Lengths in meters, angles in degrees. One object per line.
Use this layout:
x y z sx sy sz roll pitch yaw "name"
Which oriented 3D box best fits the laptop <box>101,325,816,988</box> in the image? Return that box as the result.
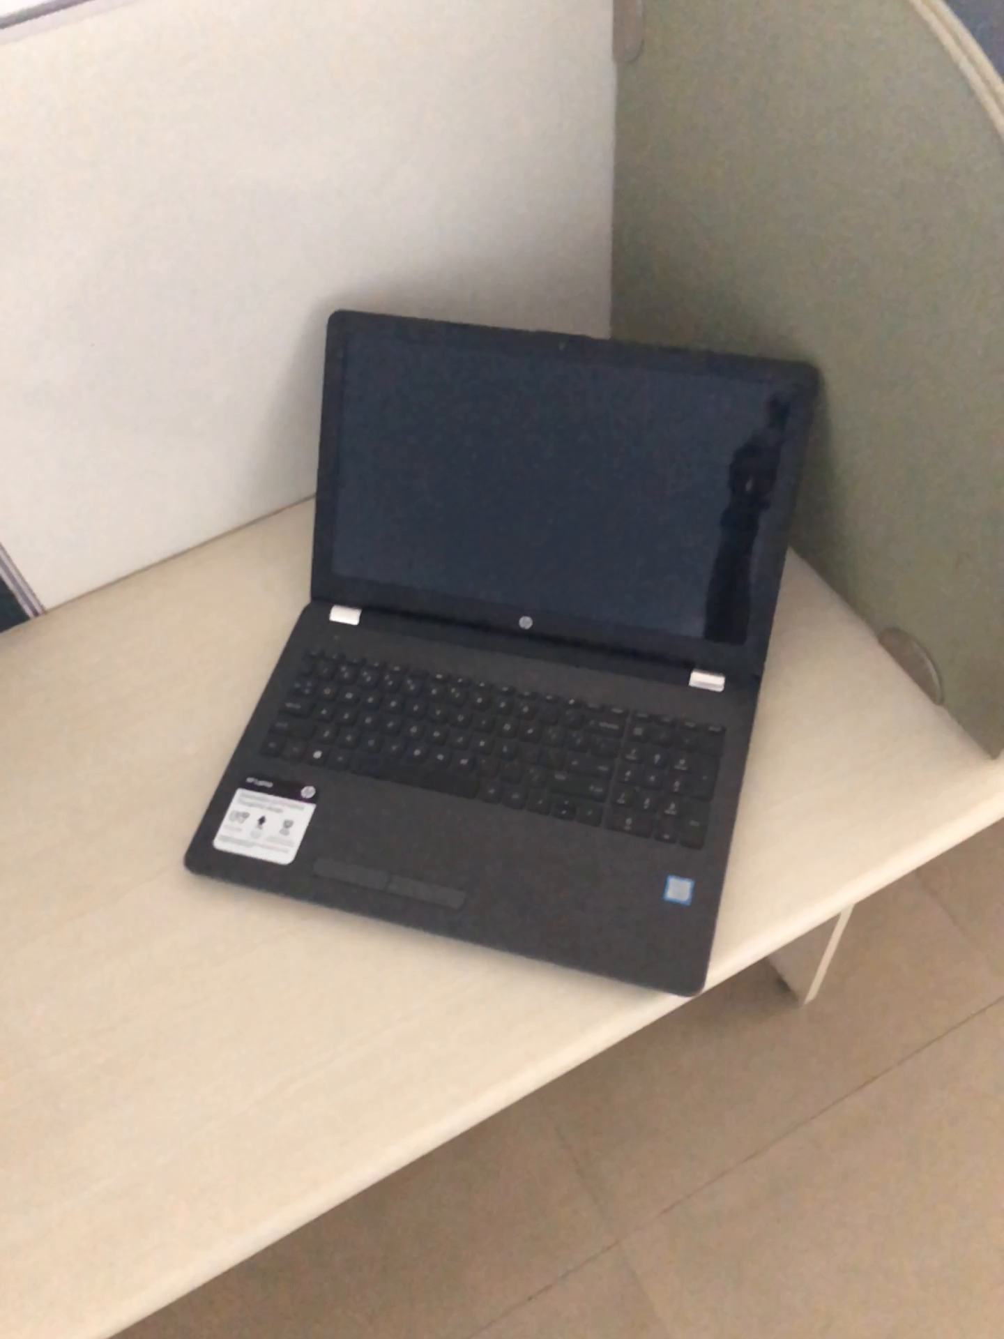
-0.001 -0.034 0.789 0.365 0.168 0.395 11 56 14 "laptop"
